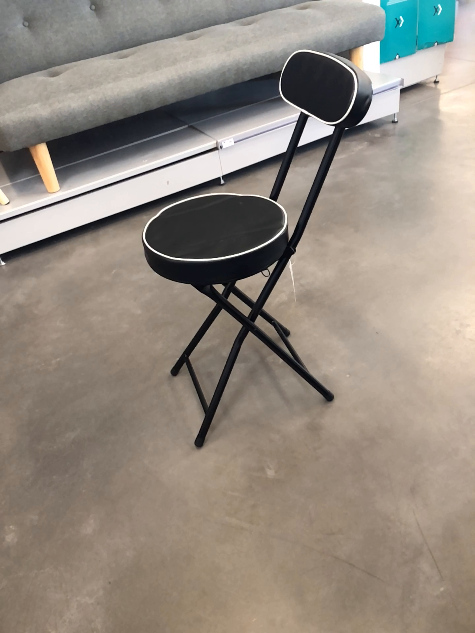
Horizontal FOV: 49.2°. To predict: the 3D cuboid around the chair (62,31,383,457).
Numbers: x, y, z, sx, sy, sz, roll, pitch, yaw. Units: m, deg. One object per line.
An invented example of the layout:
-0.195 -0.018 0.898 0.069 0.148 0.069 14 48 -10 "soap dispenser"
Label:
0.005 -0.140 1.159 0.511 0.756 0.342 -18 37 -9 "chair"
